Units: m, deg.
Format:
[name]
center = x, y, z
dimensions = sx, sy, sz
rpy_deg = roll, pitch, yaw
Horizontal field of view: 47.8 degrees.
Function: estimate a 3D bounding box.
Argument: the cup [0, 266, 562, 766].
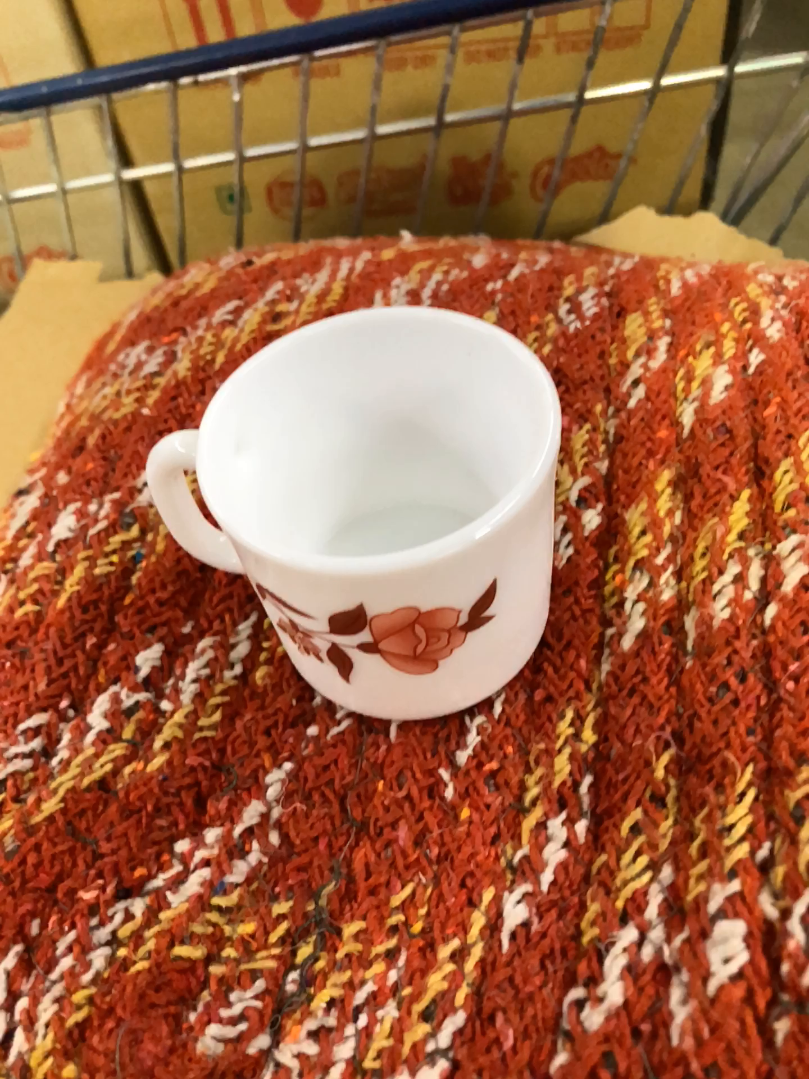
[cup]
center = -0.020, -0.006, 0.170
dimensions = 0.090, 0.060, 0.060
rpy_deg = 6, 52, 15
